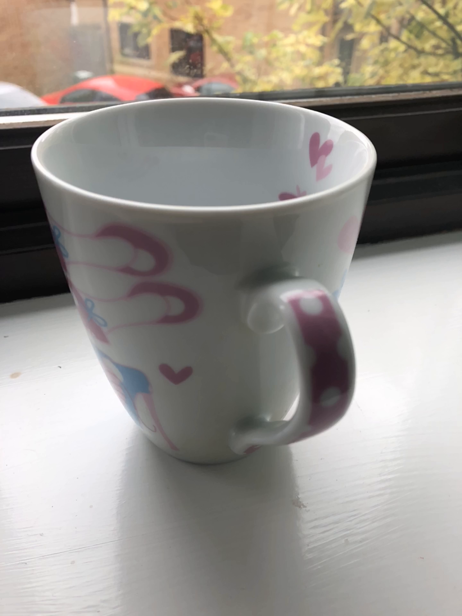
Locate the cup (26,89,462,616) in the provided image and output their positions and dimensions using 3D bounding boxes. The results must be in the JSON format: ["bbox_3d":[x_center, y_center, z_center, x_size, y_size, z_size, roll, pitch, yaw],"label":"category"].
[{"bbox_3d":[0.007,-0.008,0.174,0.110,0.089,0.141,-14,37,-21],"label":"cup"}]
